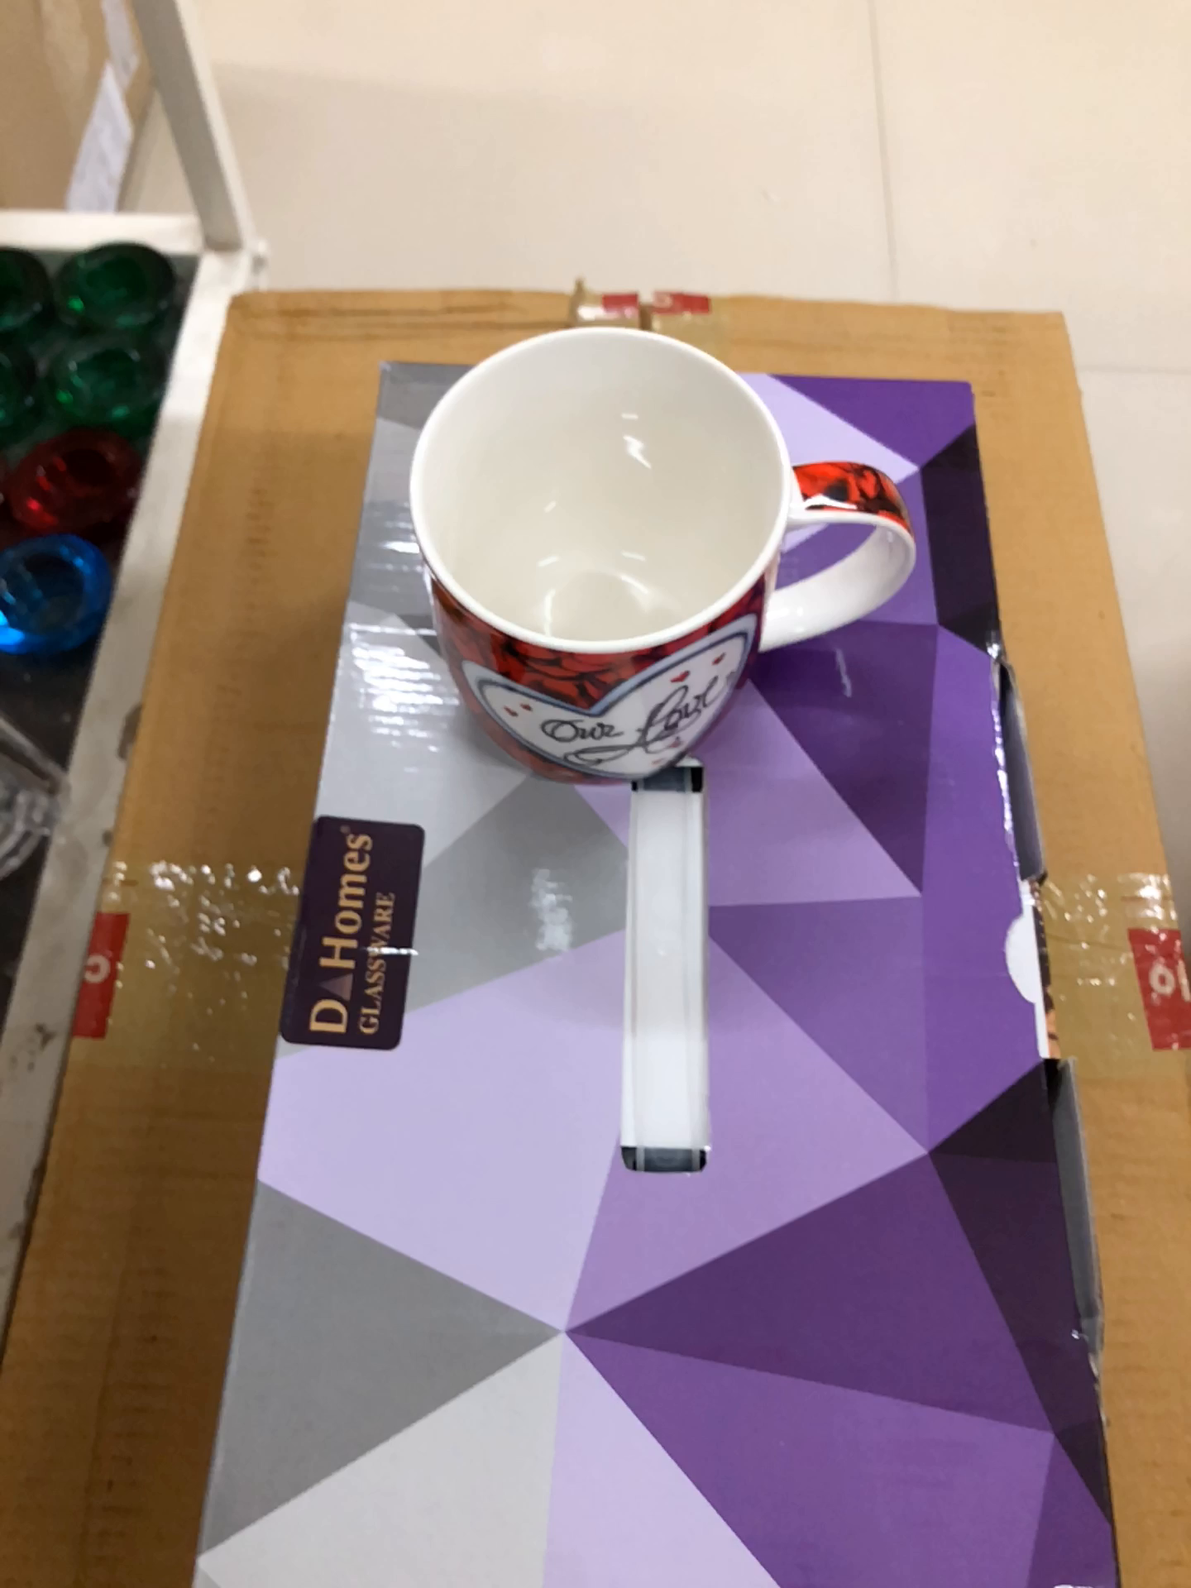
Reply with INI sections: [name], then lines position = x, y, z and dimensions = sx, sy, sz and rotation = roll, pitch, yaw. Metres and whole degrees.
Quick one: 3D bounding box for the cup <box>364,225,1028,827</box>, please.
[cup]
position = 0.018, -0.064, 0.337
dimensions = 0.130, 0.100, 0.090
rotation = -9, 63, -5
